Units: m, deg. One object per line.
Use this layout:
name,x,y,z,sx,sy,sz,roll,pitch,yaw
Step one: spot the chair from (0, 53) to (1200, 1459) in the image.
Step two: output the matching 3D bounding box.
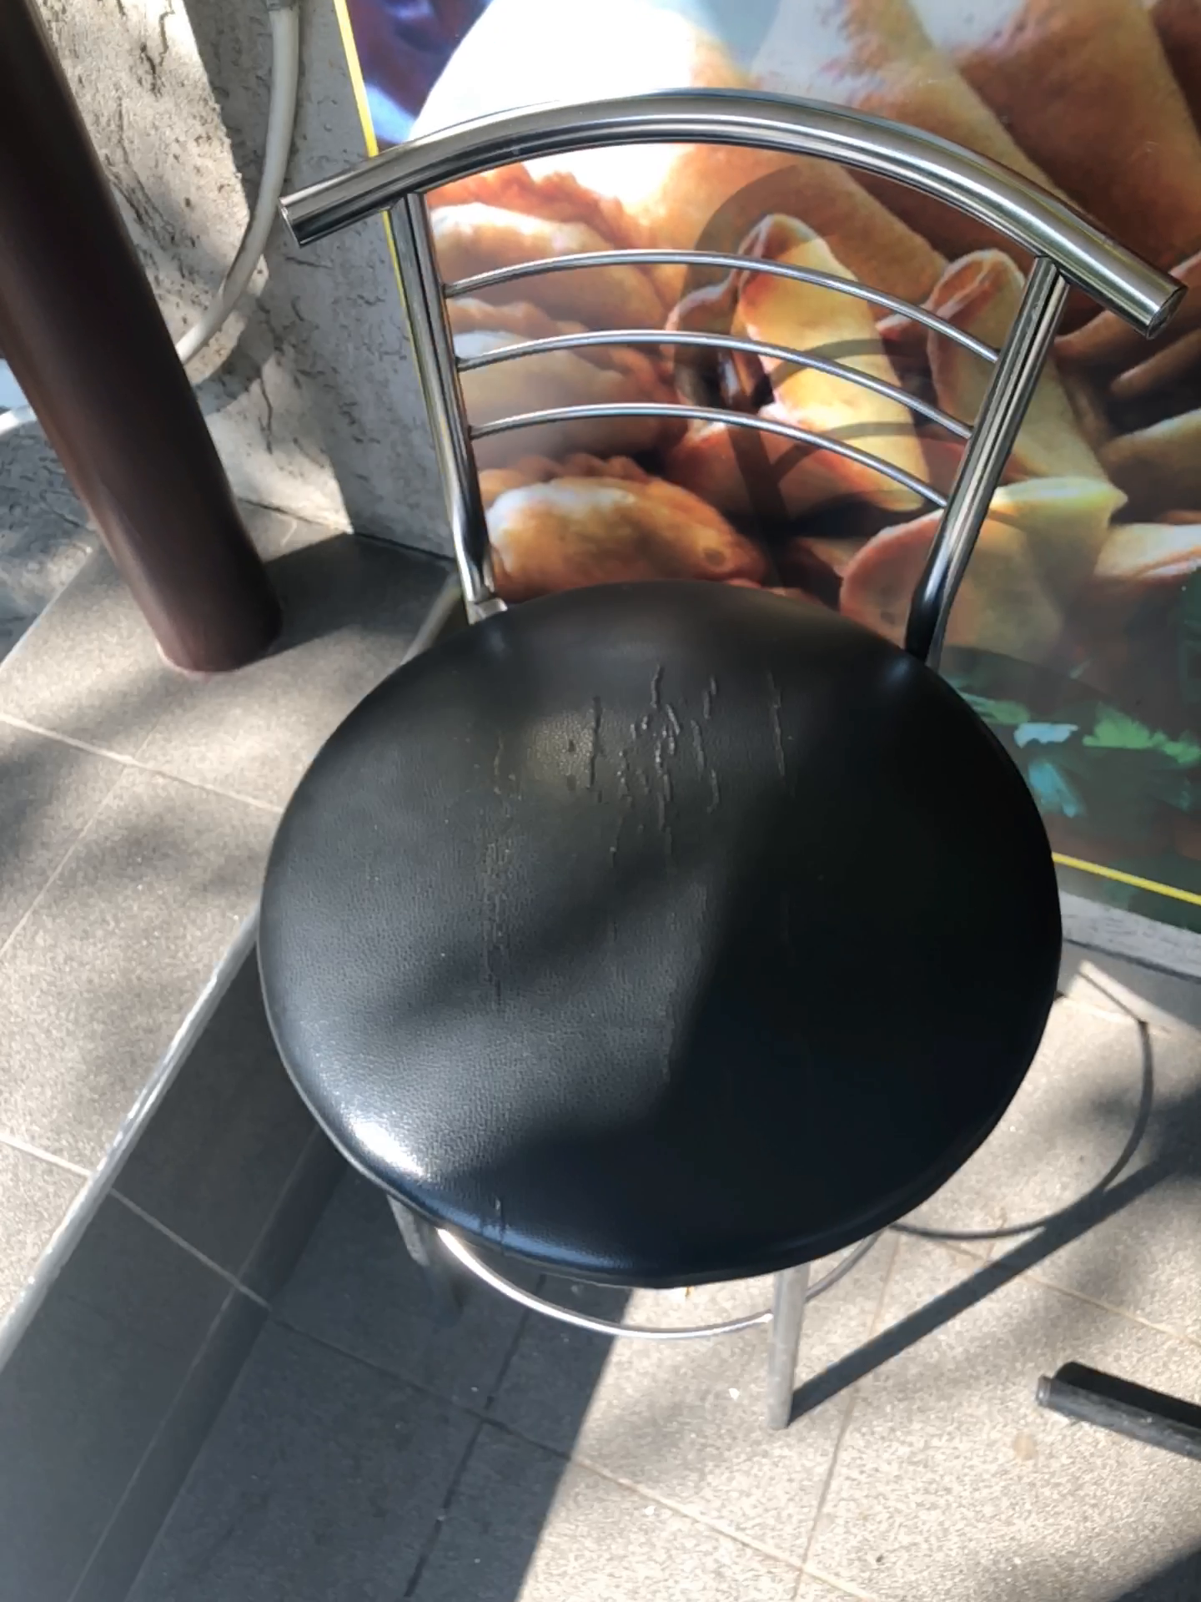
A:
chair,0.050,0.123,1.011,0.510,1.097,0.501,4,58,7
